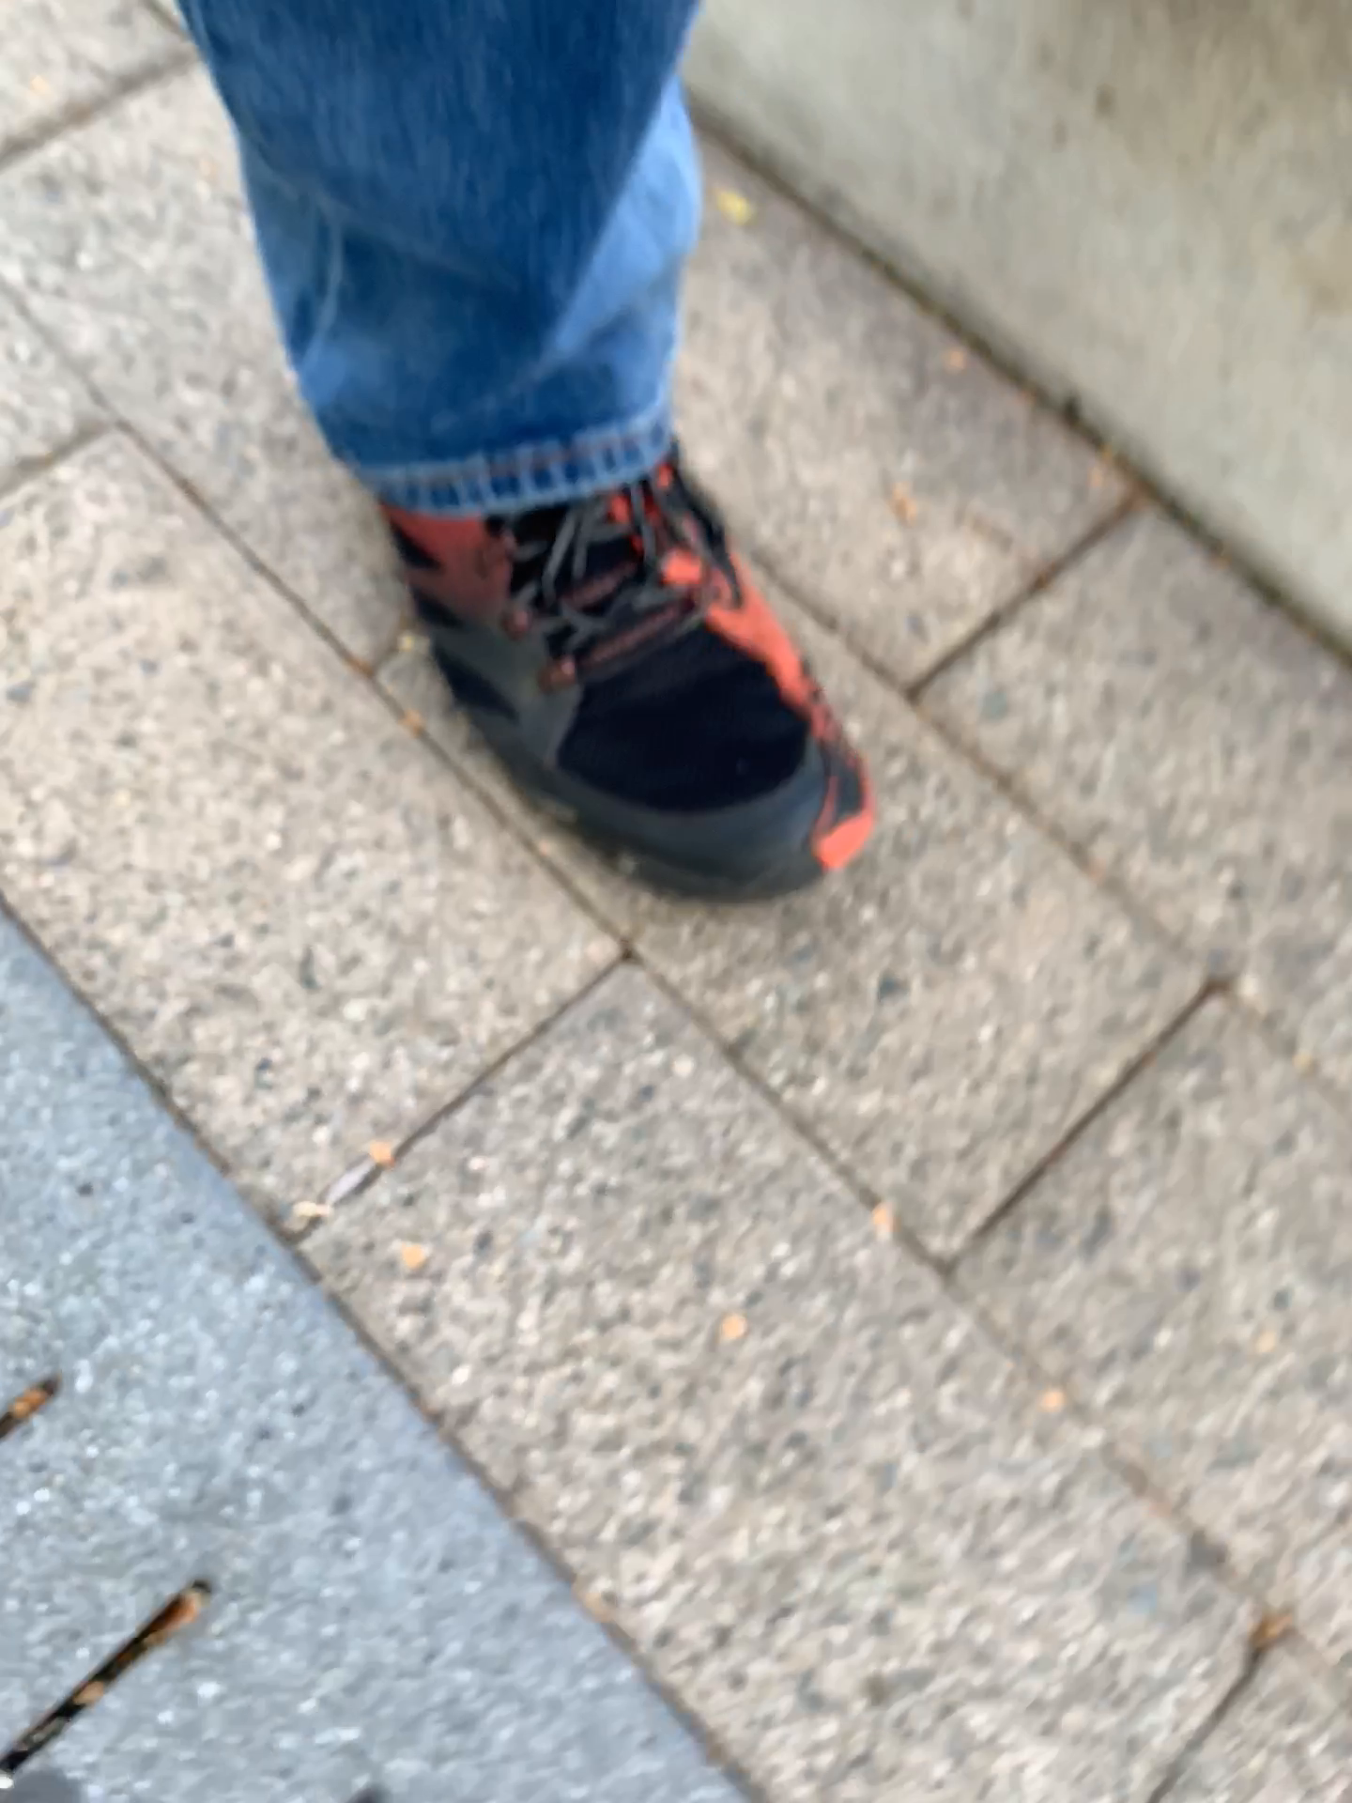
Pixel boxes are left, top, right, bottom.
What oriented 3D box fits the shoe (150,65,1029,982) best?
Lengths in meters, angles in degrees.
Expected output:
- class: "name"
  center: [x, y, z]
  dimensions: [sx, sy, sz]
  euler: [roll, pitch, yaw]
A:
- class: "shoe"
  center: [-0.038, -0.141, 0.499]
  dimensions: [0.136, 0.080, 0.306]
  euler: [-33, 74, -17]
